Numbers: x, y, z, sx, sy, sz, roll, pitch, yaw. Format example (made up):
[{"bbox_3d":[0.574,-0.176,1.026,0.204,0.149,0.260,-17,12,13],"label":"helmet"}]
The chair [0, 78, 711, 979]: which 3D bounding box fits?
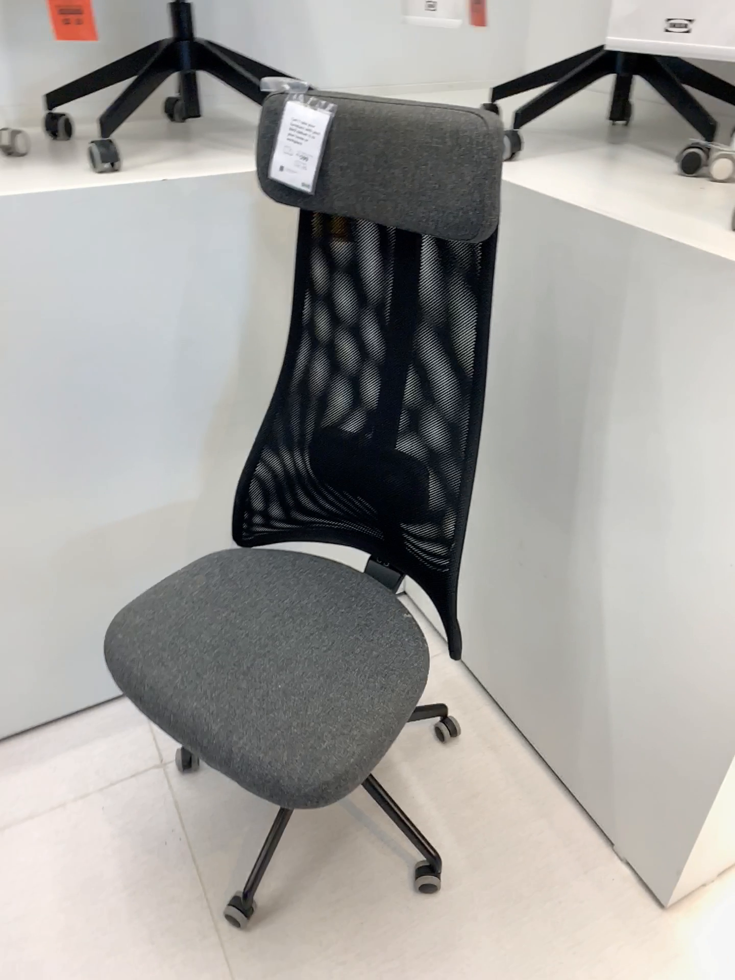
[{"bbox_3d":[-0.062,0.091,1.234,0.661,1.265,0.672,28,43,34],"label":"chair"}]
